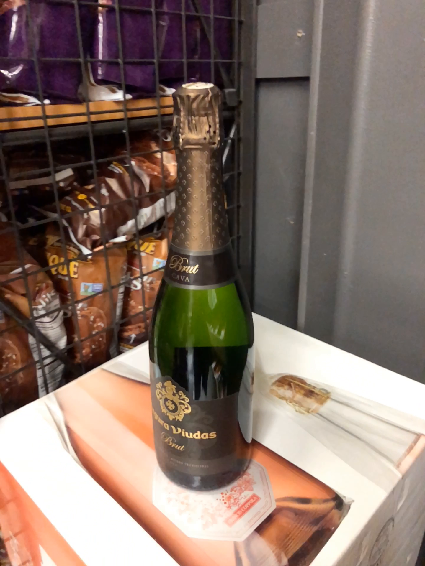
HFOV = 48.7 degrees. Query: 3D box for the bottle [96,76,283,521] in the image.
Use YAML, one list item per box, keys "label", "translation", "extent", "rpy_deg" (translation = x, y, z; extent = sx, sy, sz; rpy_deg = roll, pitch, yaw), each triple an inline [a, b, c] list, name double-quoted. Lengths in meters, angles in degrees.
- label: "bottle"
  translation: [-0.010, 0.017, 0.369]
  extent: [0.090, 0.326, 0.084]
  rpy_deg: [-1, 22, 1]
